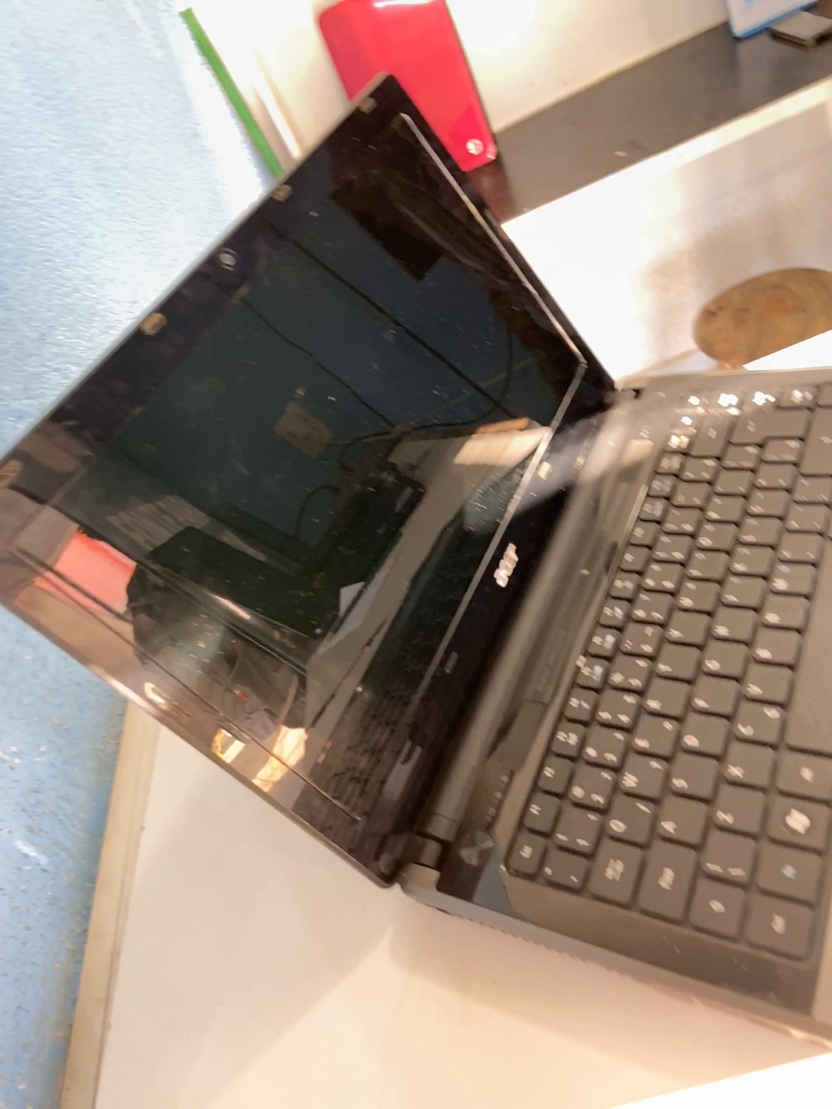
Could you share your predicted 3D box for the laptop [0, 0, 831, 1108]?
[{"bbox_3d":[0.084,-0.052,0.336,0.319,0.207,0.338,3,50,35],"label":"laptop"}]
